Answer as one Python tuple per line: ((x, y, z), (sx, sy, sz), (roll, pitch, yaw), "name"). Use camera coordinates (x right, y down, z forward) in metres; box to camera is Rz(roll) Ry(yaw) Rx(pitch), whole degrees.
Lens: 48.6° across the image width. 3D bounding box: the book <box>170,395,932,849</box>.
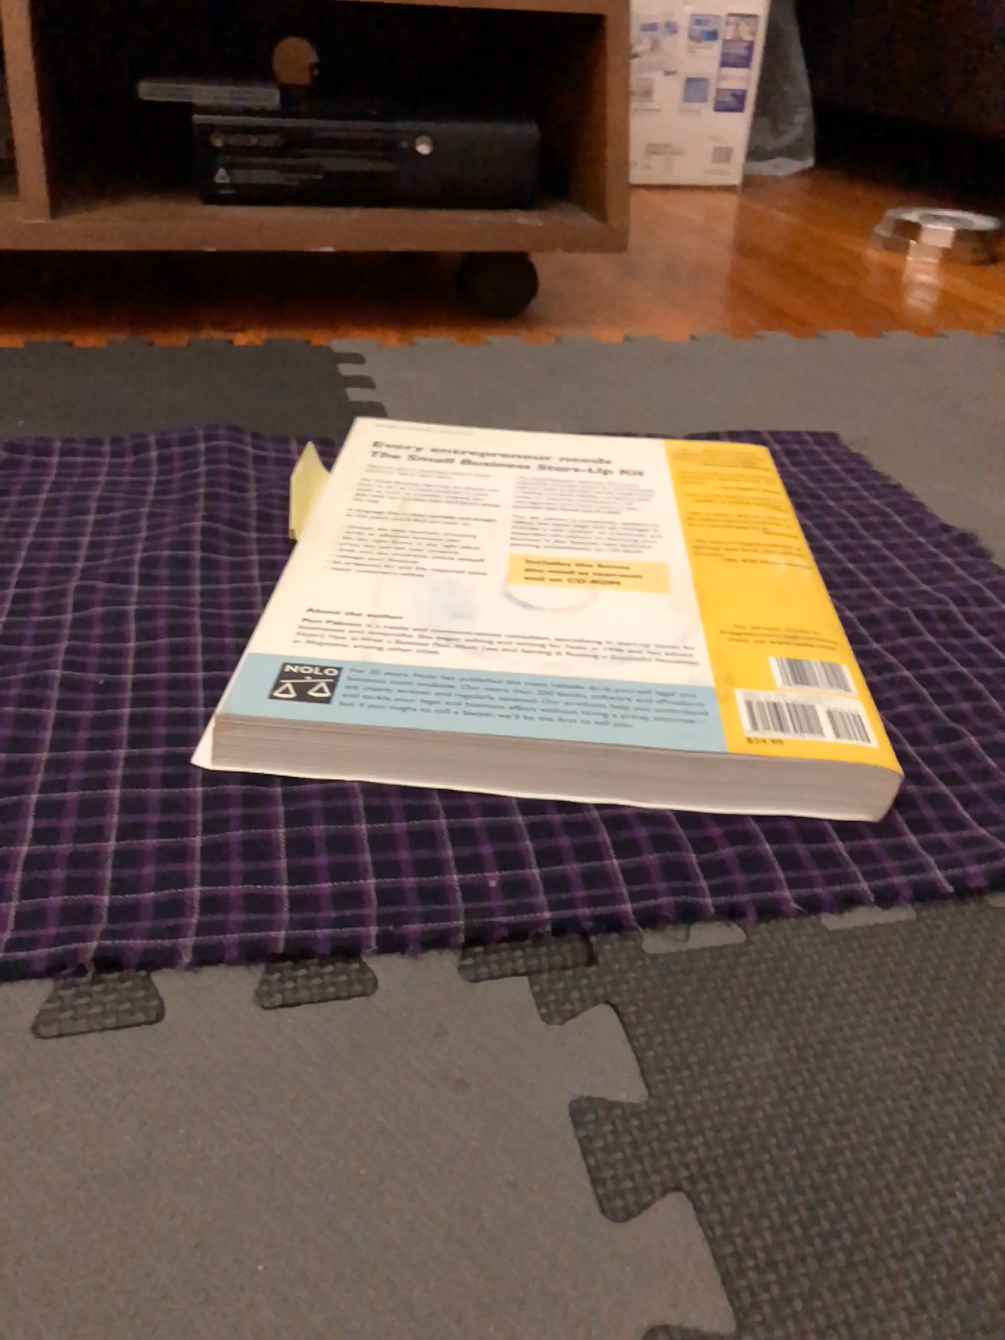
((0.022, -0.047, 0.476), (0.230, 0.030, 0.312), (5, 31, 1), "book")
